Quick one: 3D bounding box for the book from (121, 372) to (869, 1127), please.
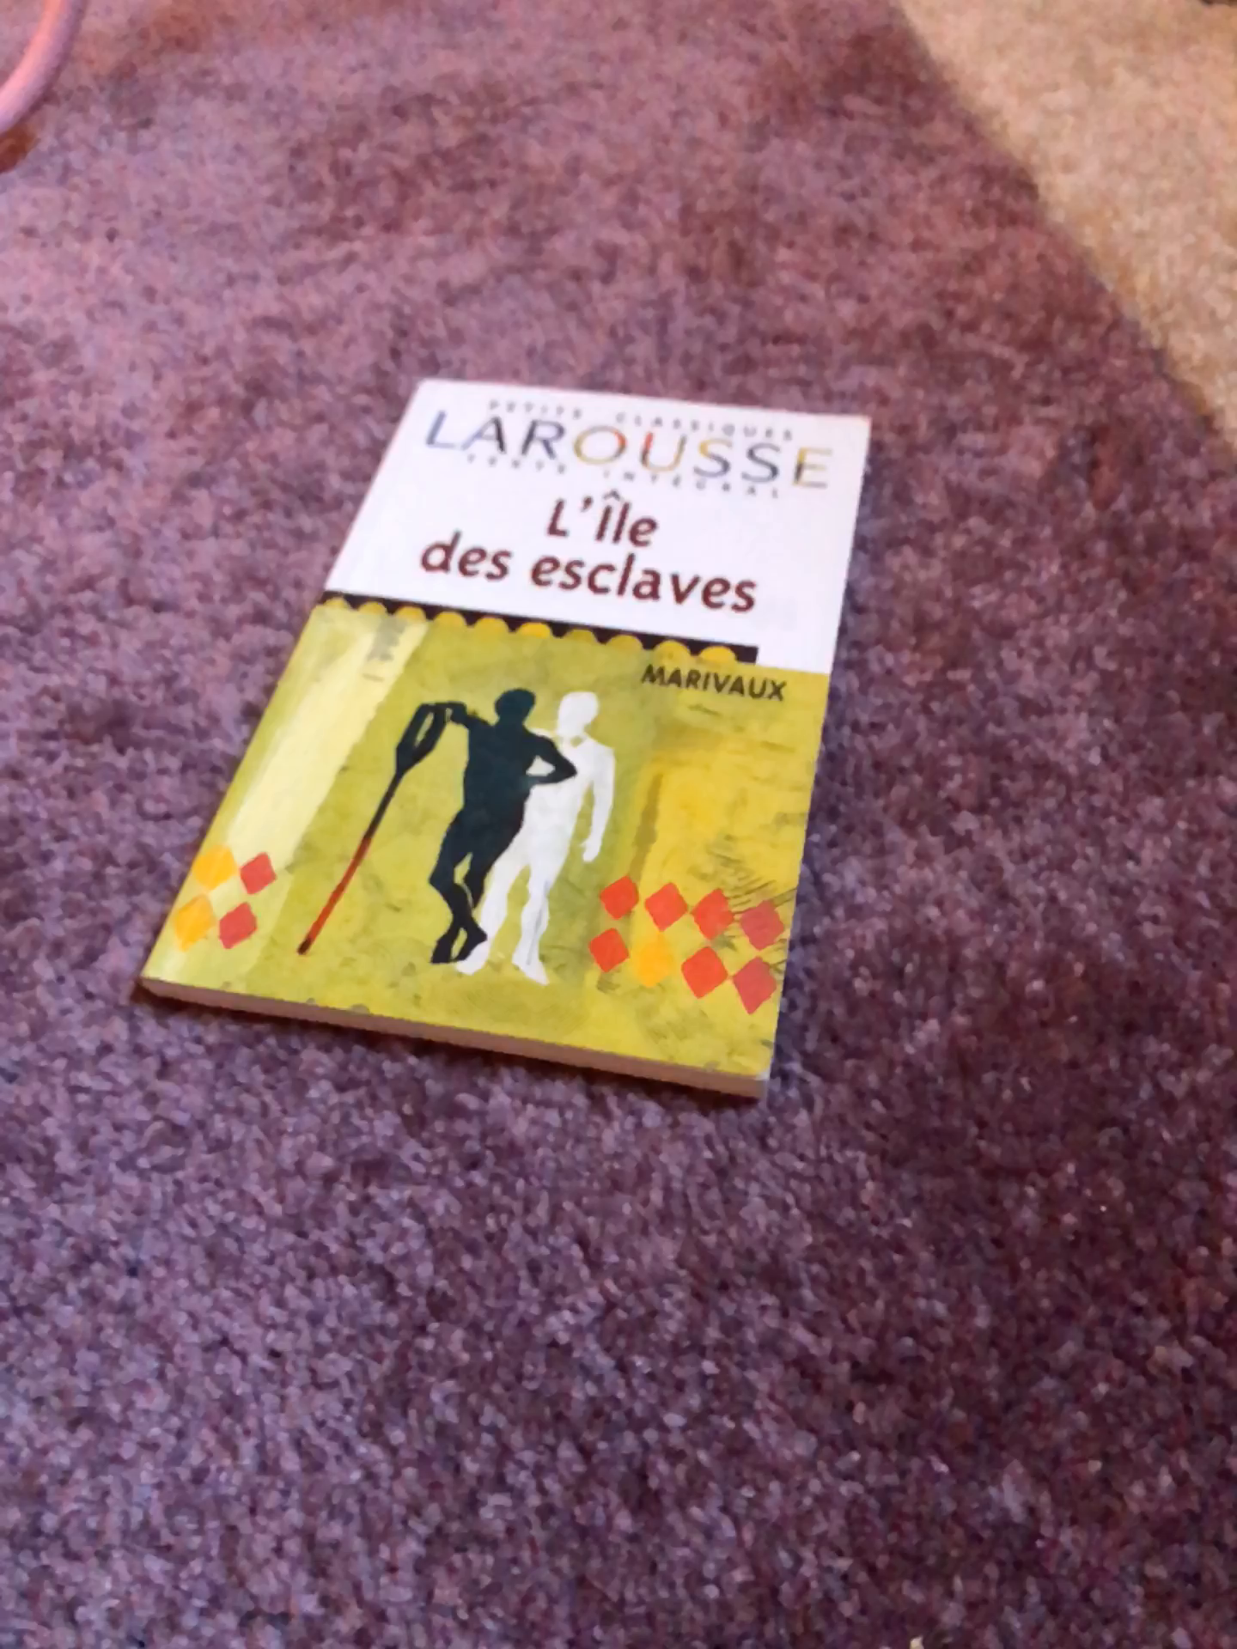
[{"bbox_3d":[-0.013,-0.029,0.282,0.109,0.020,0.167,8,54,8],"label":"book"}]
